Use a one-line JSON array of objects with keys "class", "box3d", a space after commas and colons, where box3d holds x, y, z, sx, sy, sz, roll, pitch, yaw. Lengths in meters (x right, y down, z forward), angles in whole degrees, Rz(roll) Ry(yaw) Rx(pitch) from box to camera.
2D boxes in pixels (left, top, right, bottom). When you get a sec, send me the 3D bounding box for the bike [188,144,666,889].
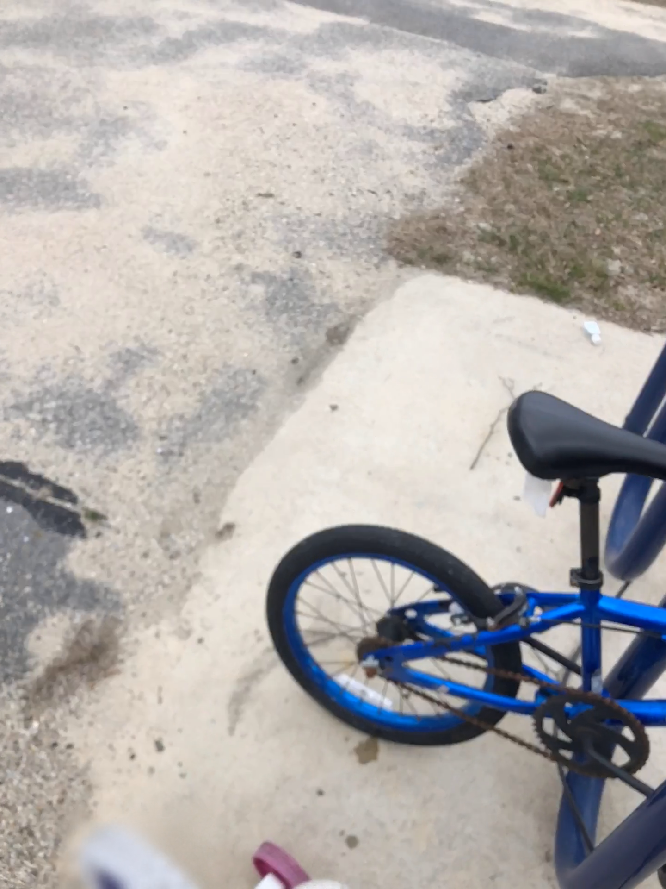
[{"class": "bike", "box3d": [0.379, 0.261, 1.003, 1.029, 0.840, 0.625, 28, 46, 22]}]
